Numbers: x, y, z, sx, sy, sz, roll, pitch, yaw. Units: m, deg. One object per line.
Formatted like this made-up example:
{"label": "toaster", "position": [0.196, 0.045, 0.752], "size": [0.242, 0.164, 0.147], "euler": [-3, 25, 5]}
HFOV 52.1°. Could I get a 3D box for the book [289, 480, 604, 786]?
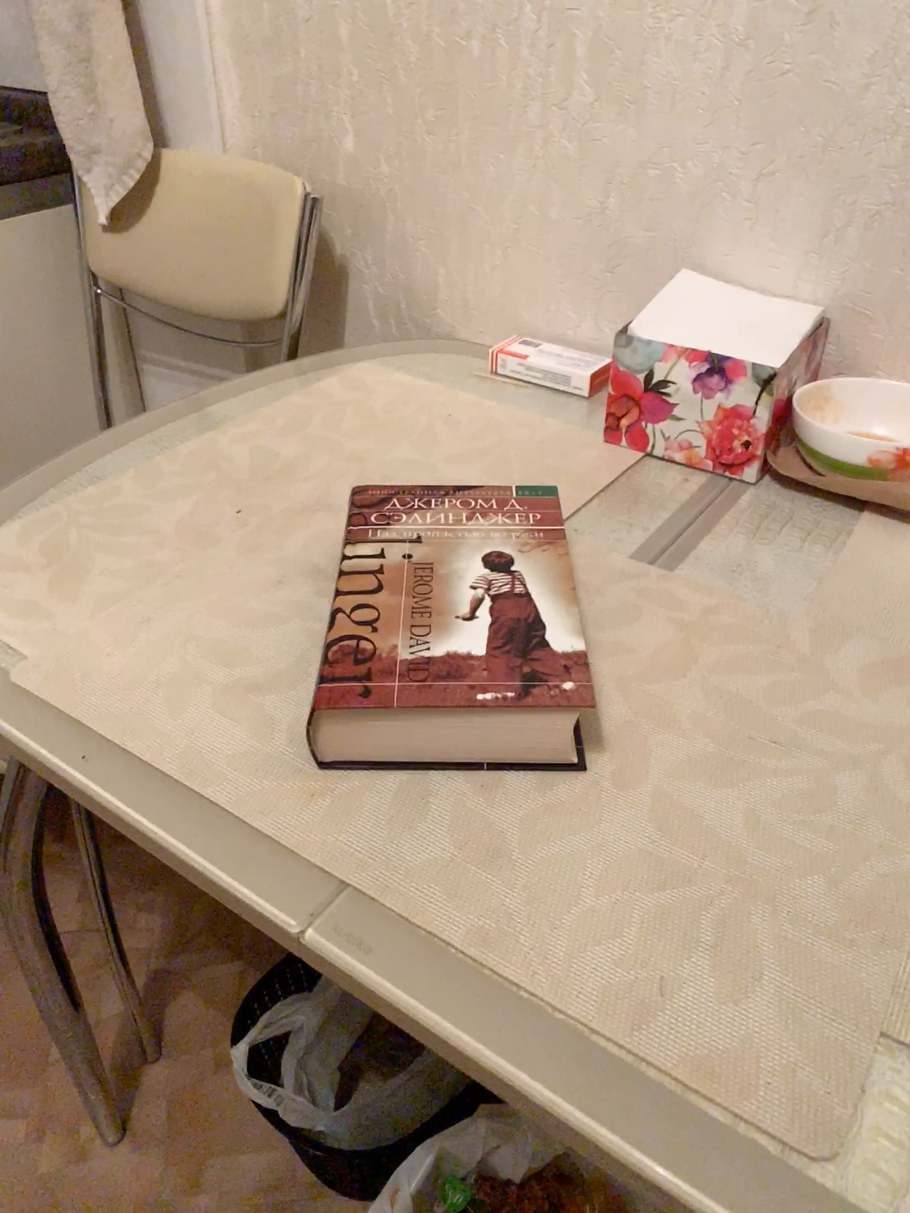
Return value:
{"label": "book", "position": [-0.003, 0.003, 0.545], "size": [0.150, 0.049, 0.222], "euler": [0, 38, 0]}
